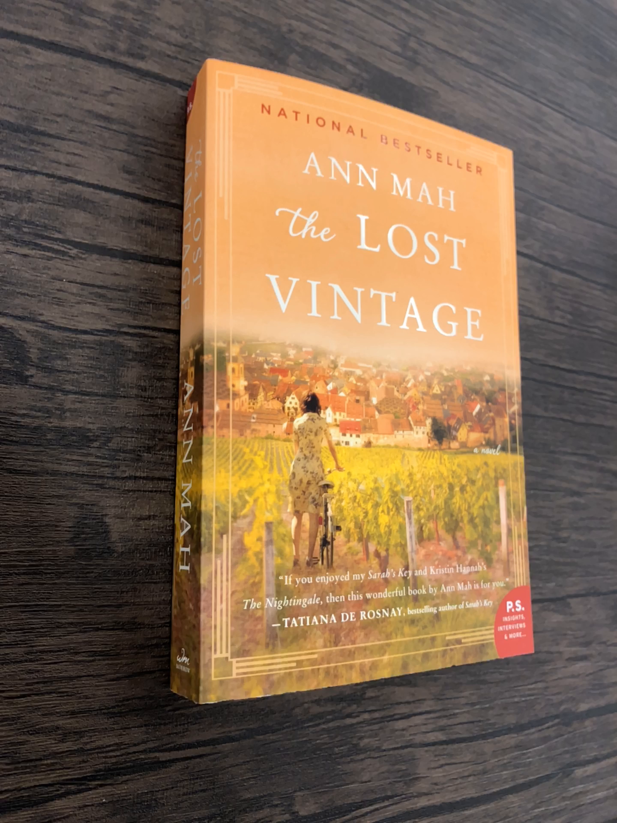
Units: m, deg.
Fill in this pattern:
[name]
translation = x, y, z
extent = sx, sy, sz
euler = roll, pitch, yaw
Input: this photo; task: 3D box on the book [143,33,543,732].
[book]
translation = 0.016, -0.008, 0.246
extent = 0.134, 0.040, 0.200
euler = 4, 81, -30
